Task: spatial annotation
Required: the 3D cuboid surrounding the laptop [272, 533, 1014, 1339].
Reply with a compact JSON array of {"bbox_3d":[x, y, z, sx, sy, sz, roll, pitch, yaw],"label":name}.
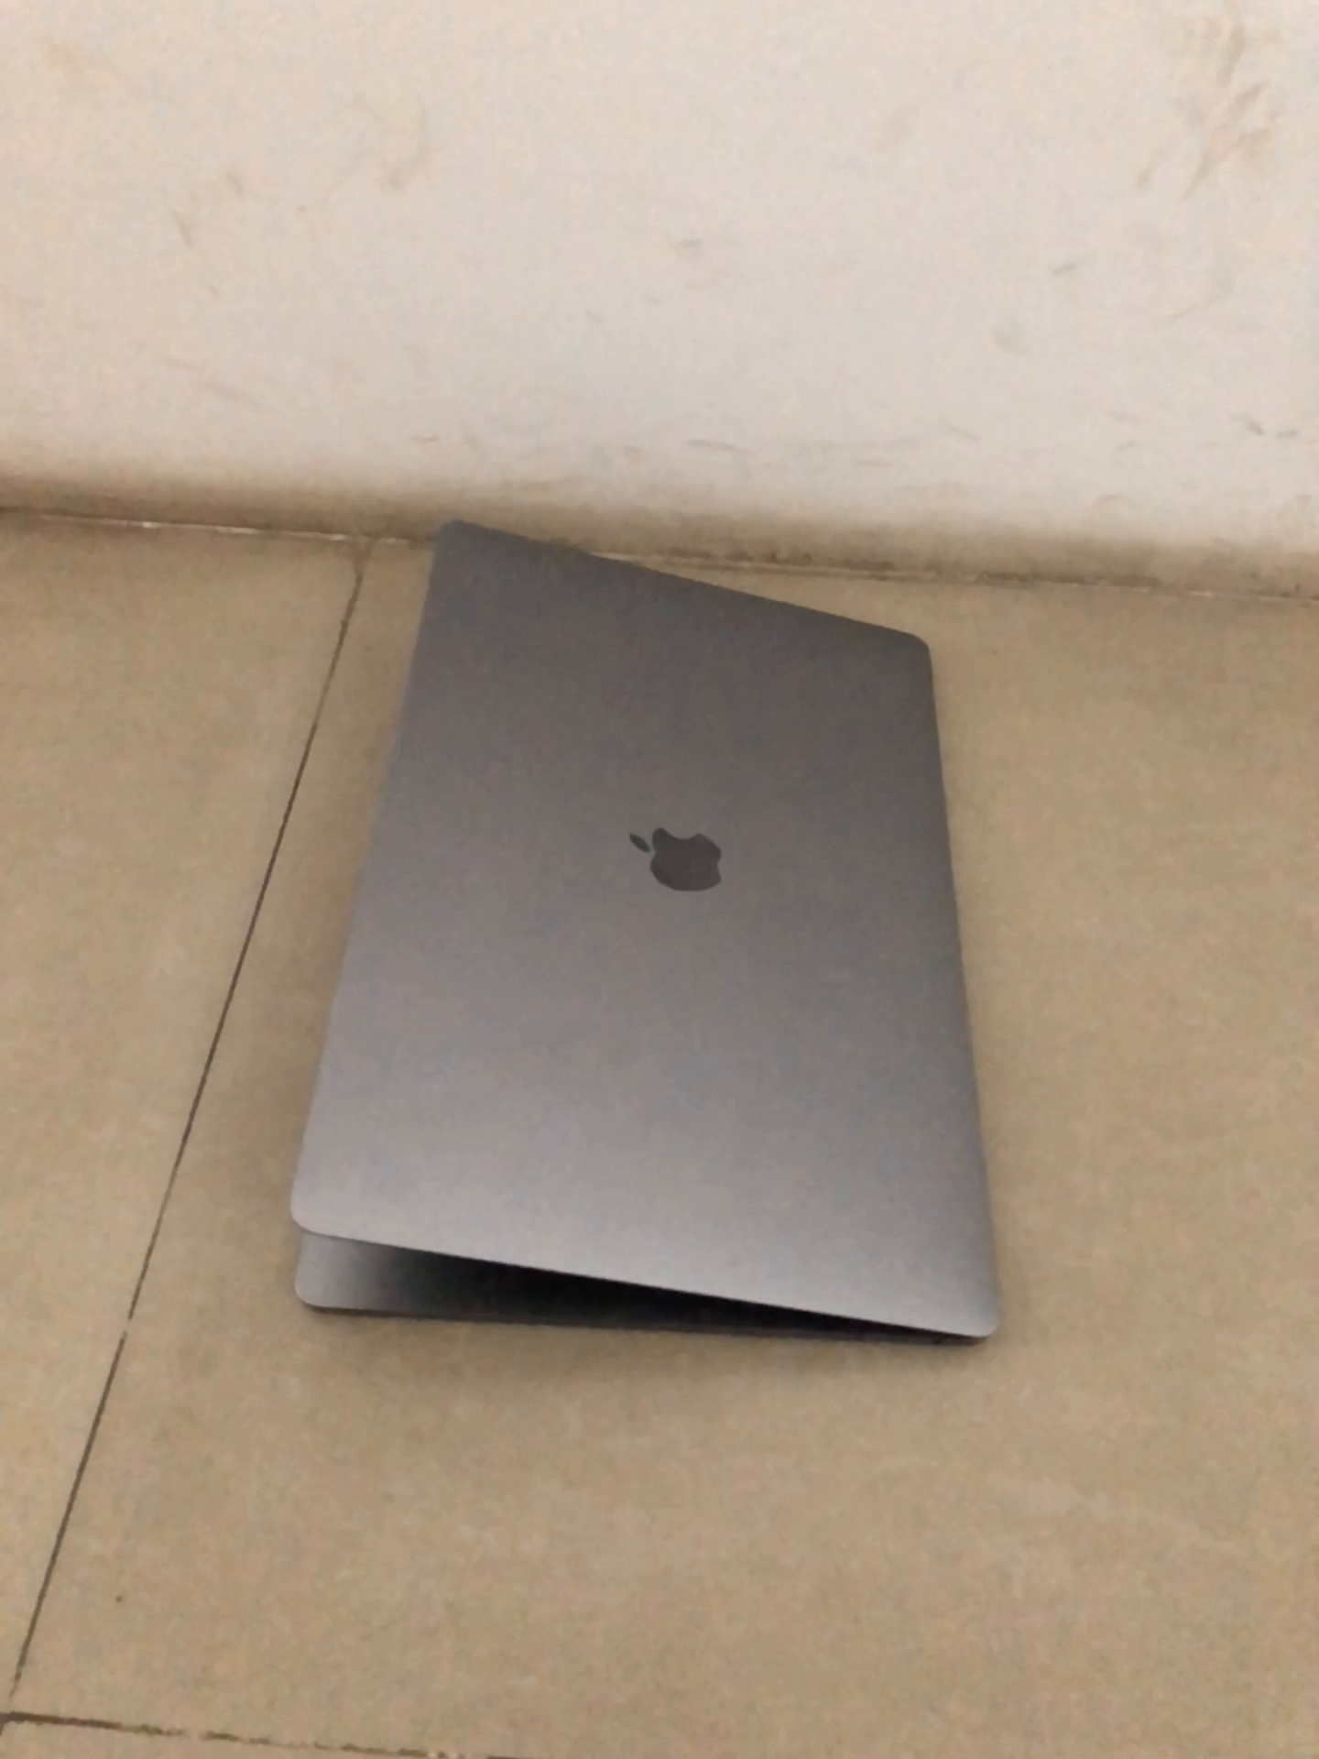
[{"bbox_3d":[0.004,-0.001,0.576,0.232,0.057,0.337,4,52,2],"label":"laptop"}]
